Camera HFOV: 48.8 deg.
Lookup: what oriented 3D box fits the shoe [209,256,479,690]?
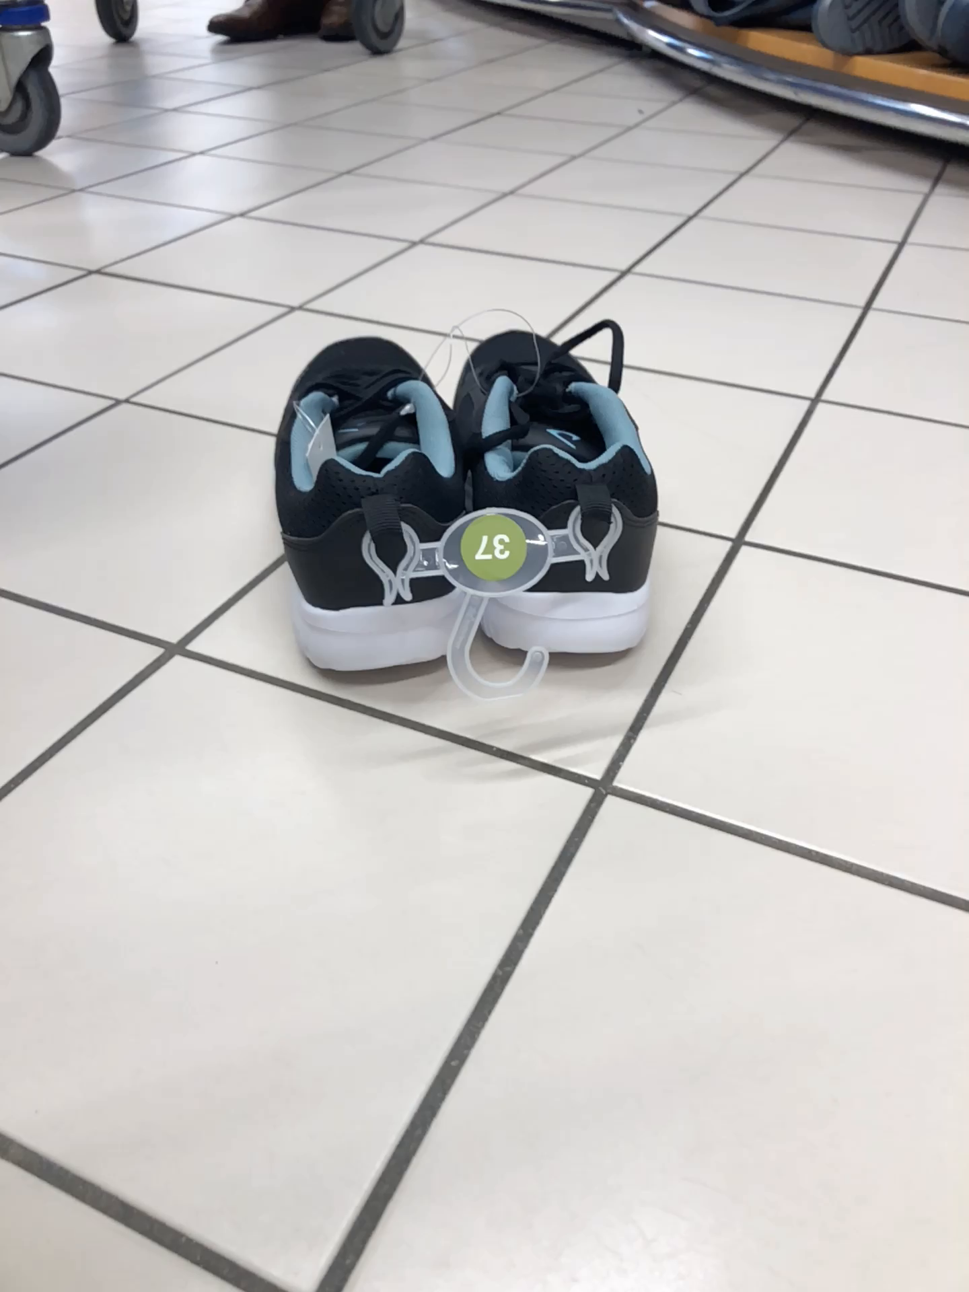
[{"bbox_3d":[-0.067,-0.100,0.526,0.100,0.109,0.241,-4,36,-6],"label":"shoe"}]

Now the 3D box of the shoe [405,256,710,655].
[{"bbox_3d":[0.020,-0.108,0.537,0.100,0.099,0.241,-1,36,-9],"label":"shoe"}]
